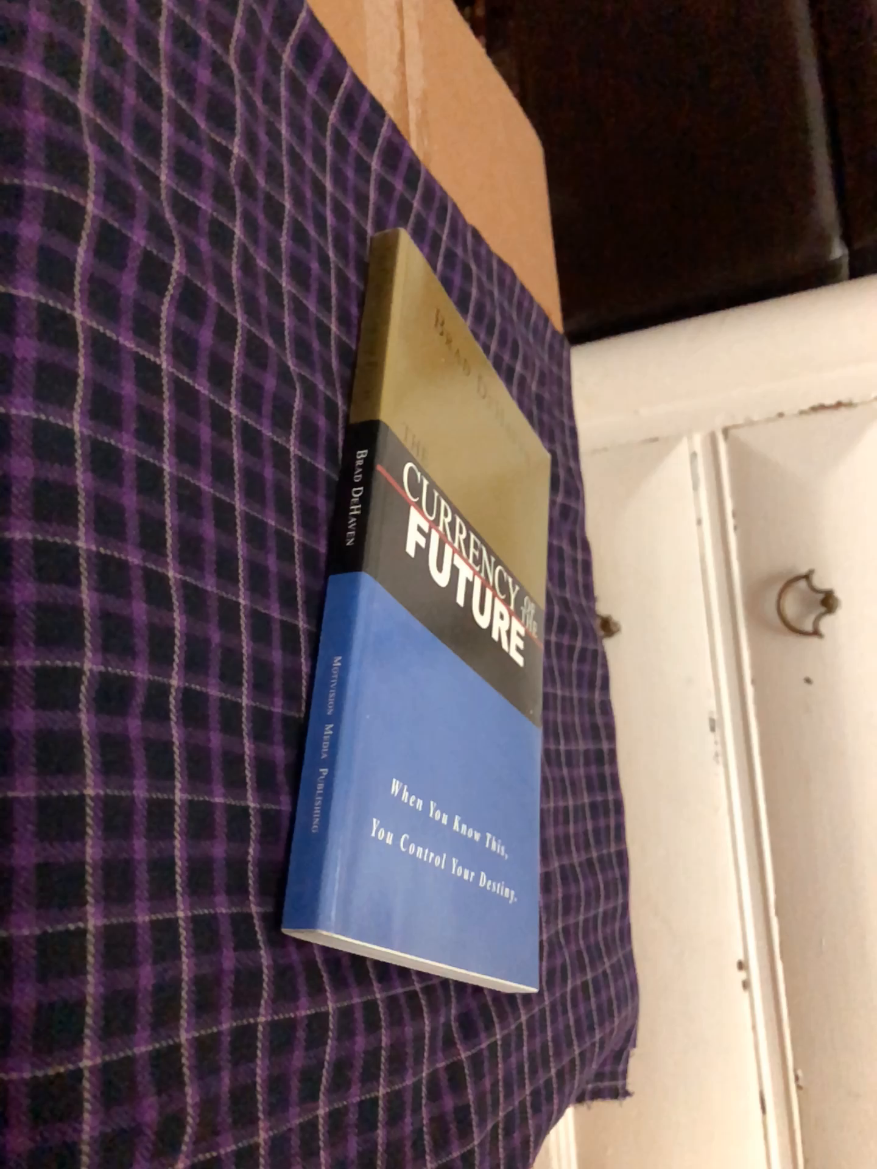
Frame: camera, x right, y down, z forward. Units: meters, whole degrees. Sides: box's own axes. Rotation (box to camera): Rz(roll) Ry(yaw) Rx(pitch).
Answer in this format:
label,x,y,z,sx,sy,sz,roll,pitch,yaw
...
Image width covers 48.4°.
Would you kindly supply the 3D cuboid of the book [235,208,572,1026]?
label,x,y,z,sx,sy,sz,roll,pitch,yaw
book,0.007,0.016,0.315,0.150,0.020,0.220,45,43,-52
